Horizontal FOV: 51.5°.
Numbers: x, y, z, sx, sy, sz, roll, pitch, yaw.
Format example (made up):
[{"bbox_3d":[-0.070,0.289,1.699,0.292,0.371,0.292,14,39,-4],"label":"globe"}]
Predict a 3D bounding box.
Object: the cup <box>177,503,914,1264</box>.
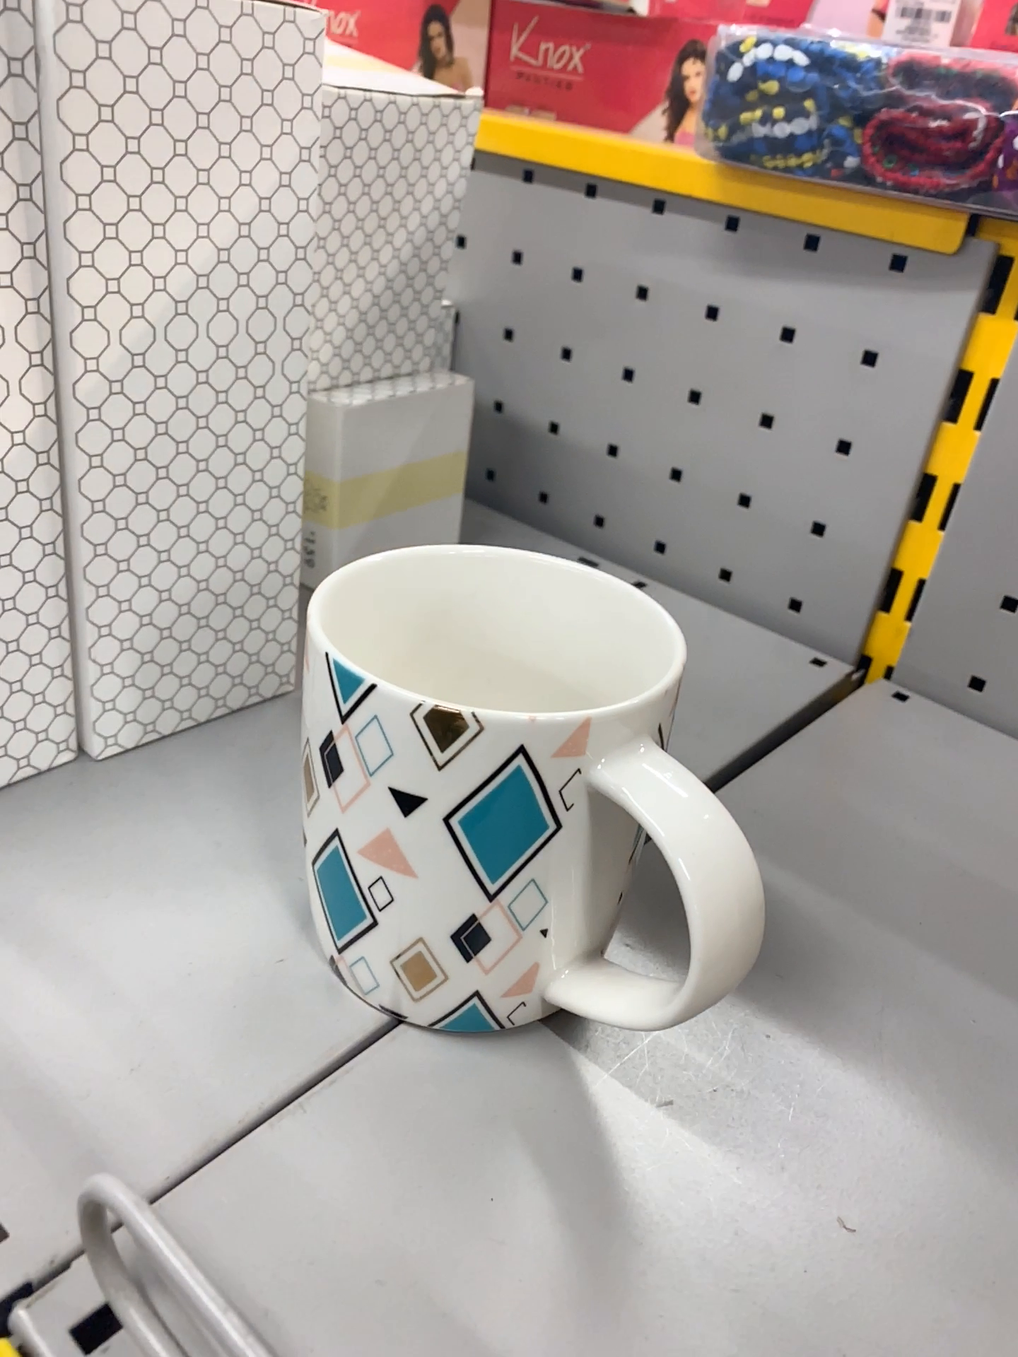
[{"bbox_3d":[0.000,0.031,0.242,0.100,0.090,0.120,-19,40,-39],"label":"cup"}]
